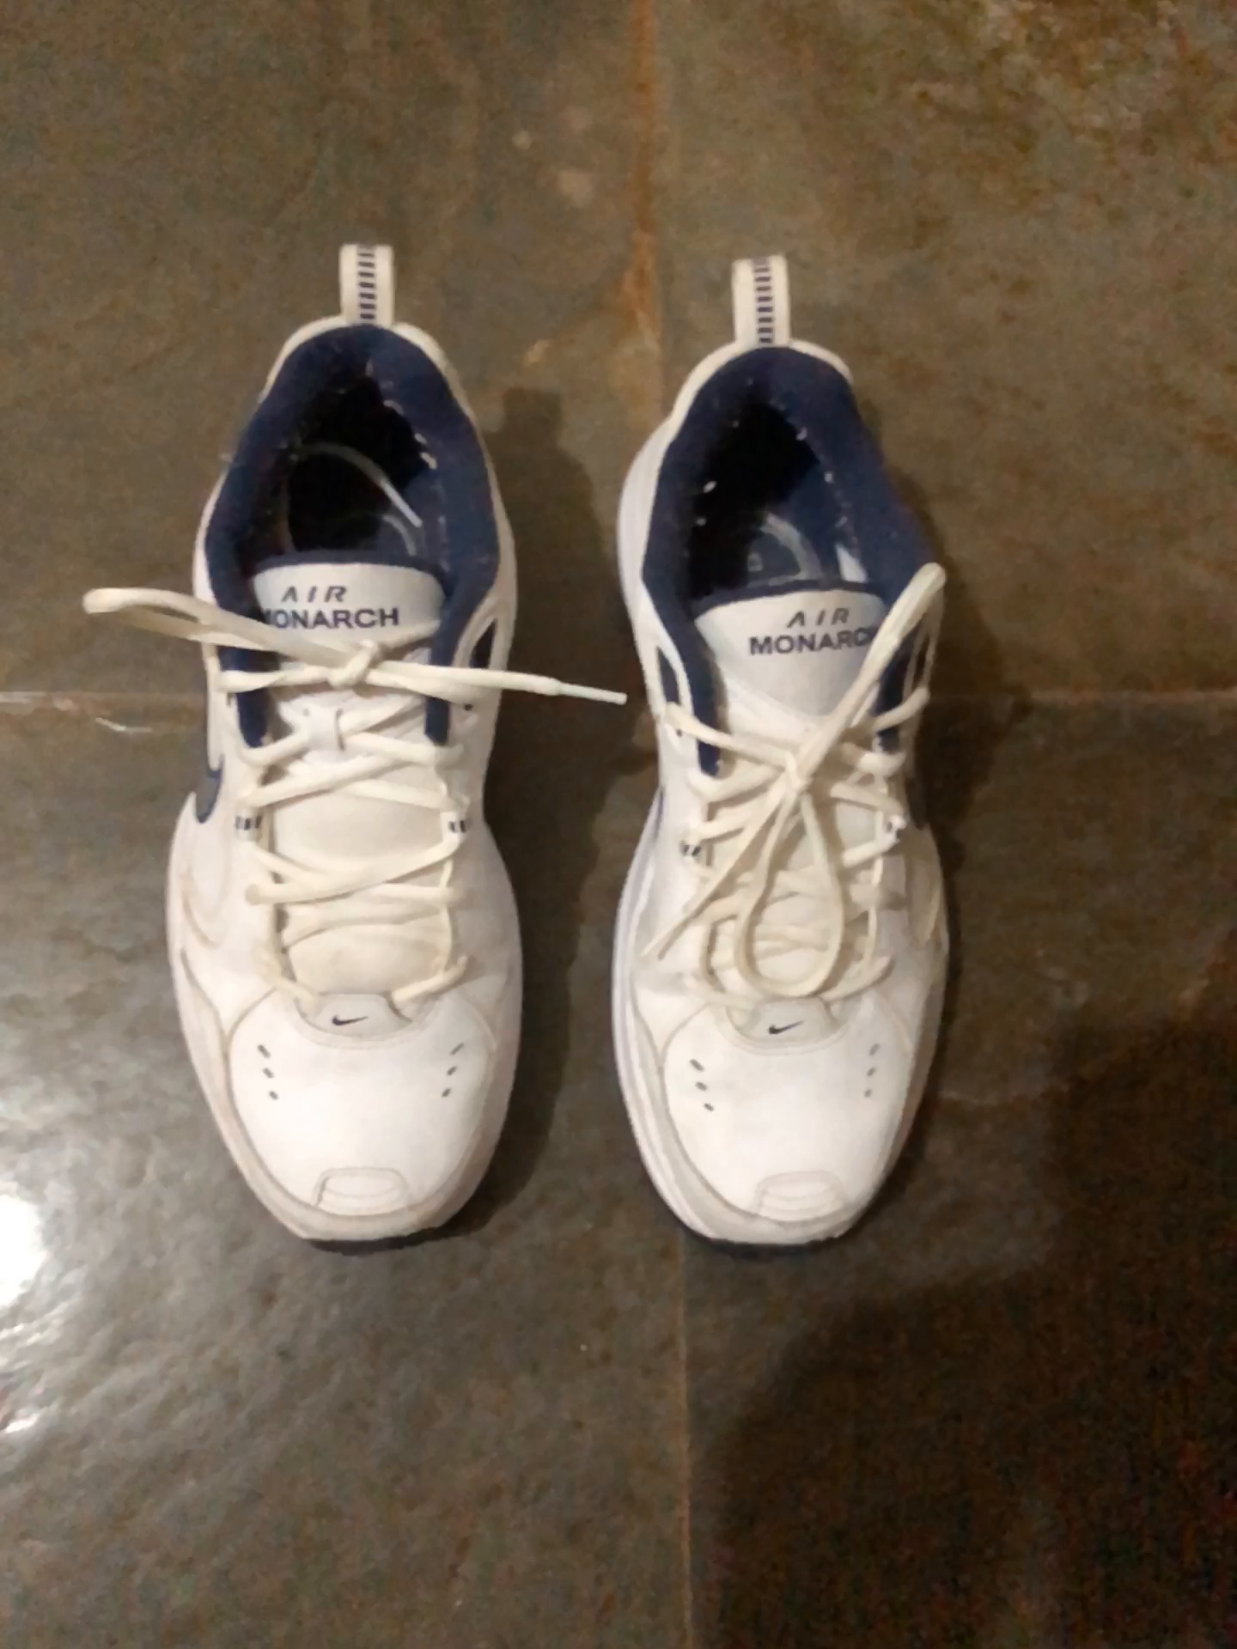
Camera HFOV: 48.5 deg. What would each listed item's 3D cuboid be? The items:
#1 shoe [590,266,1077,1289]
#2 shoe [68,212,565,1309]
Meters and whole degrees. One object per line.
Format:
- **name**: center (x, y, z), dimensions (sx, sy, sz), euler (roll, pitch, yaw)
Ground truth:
- **shoe**: center (0.056, -0.009, 0.468), dimensions (0.120, 0.150, 0.300), euler (1, 77, -5)
- **shoe**: center (-0.087, -0.016, 0.441), dimensions (0.120, 0.150, 0.300), euler (-2, 78, -6)
